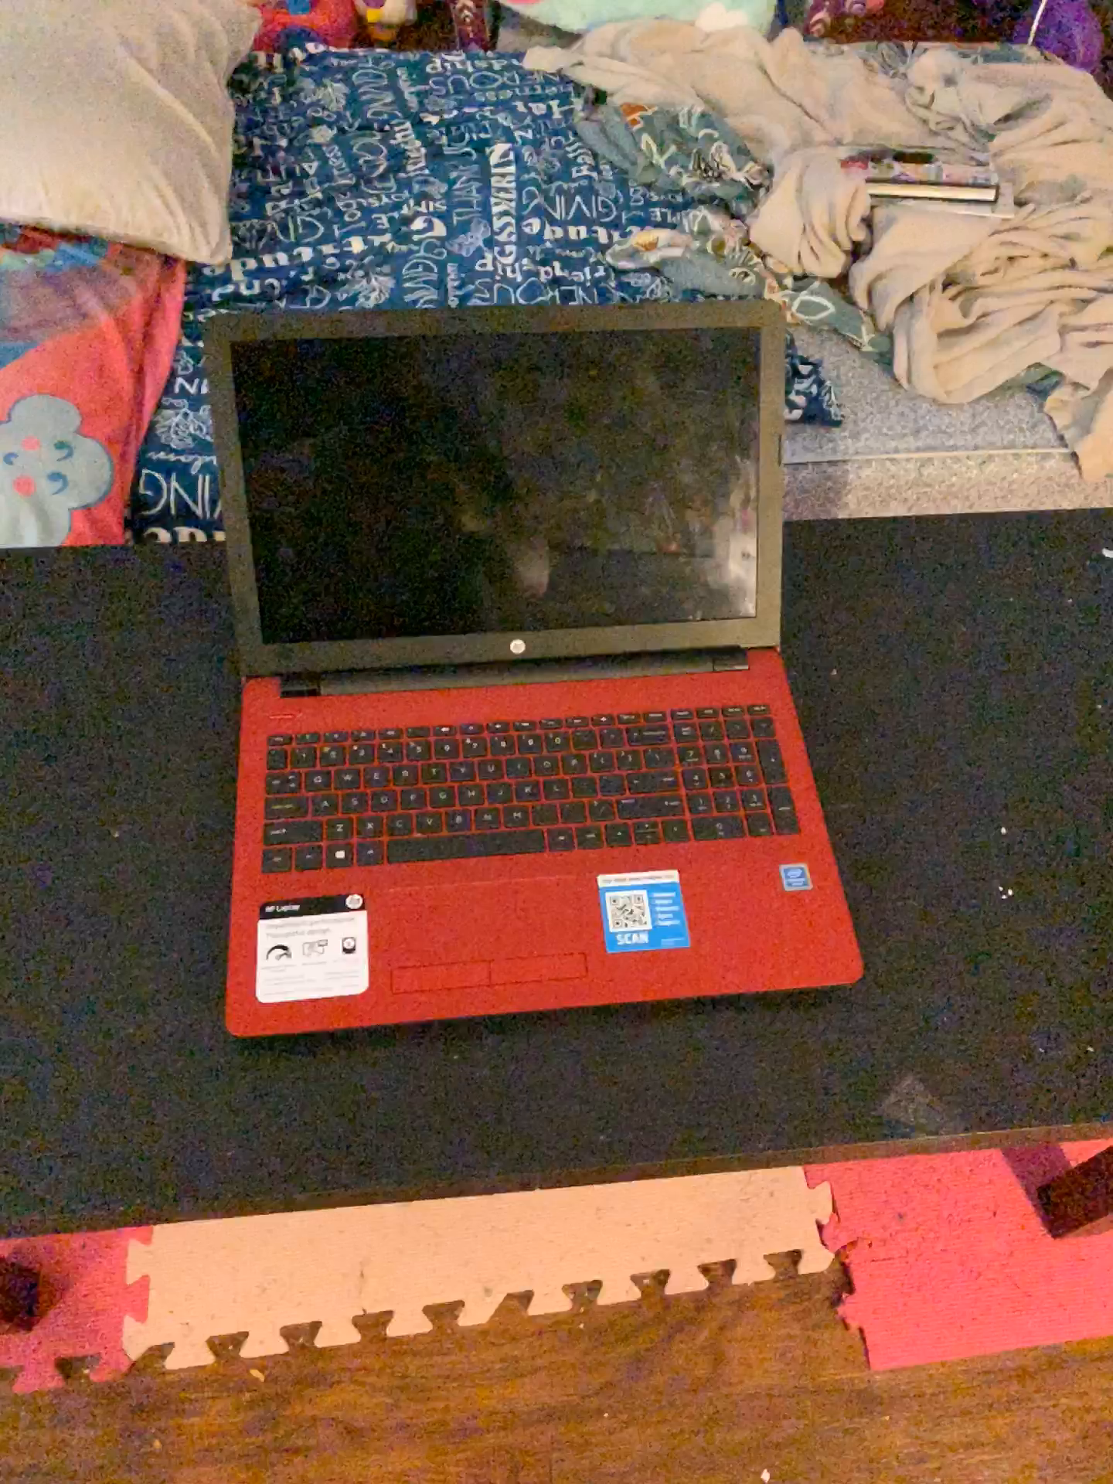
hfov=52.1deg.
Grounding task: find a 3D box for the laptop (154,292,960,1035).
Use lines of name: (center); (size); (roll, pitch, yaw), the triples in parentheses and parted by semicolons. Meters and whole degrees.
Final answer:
laptop: (-0.018, -0.067, 0.704); (0.375, 0.170, 0.411); (-4, 58, -6)
